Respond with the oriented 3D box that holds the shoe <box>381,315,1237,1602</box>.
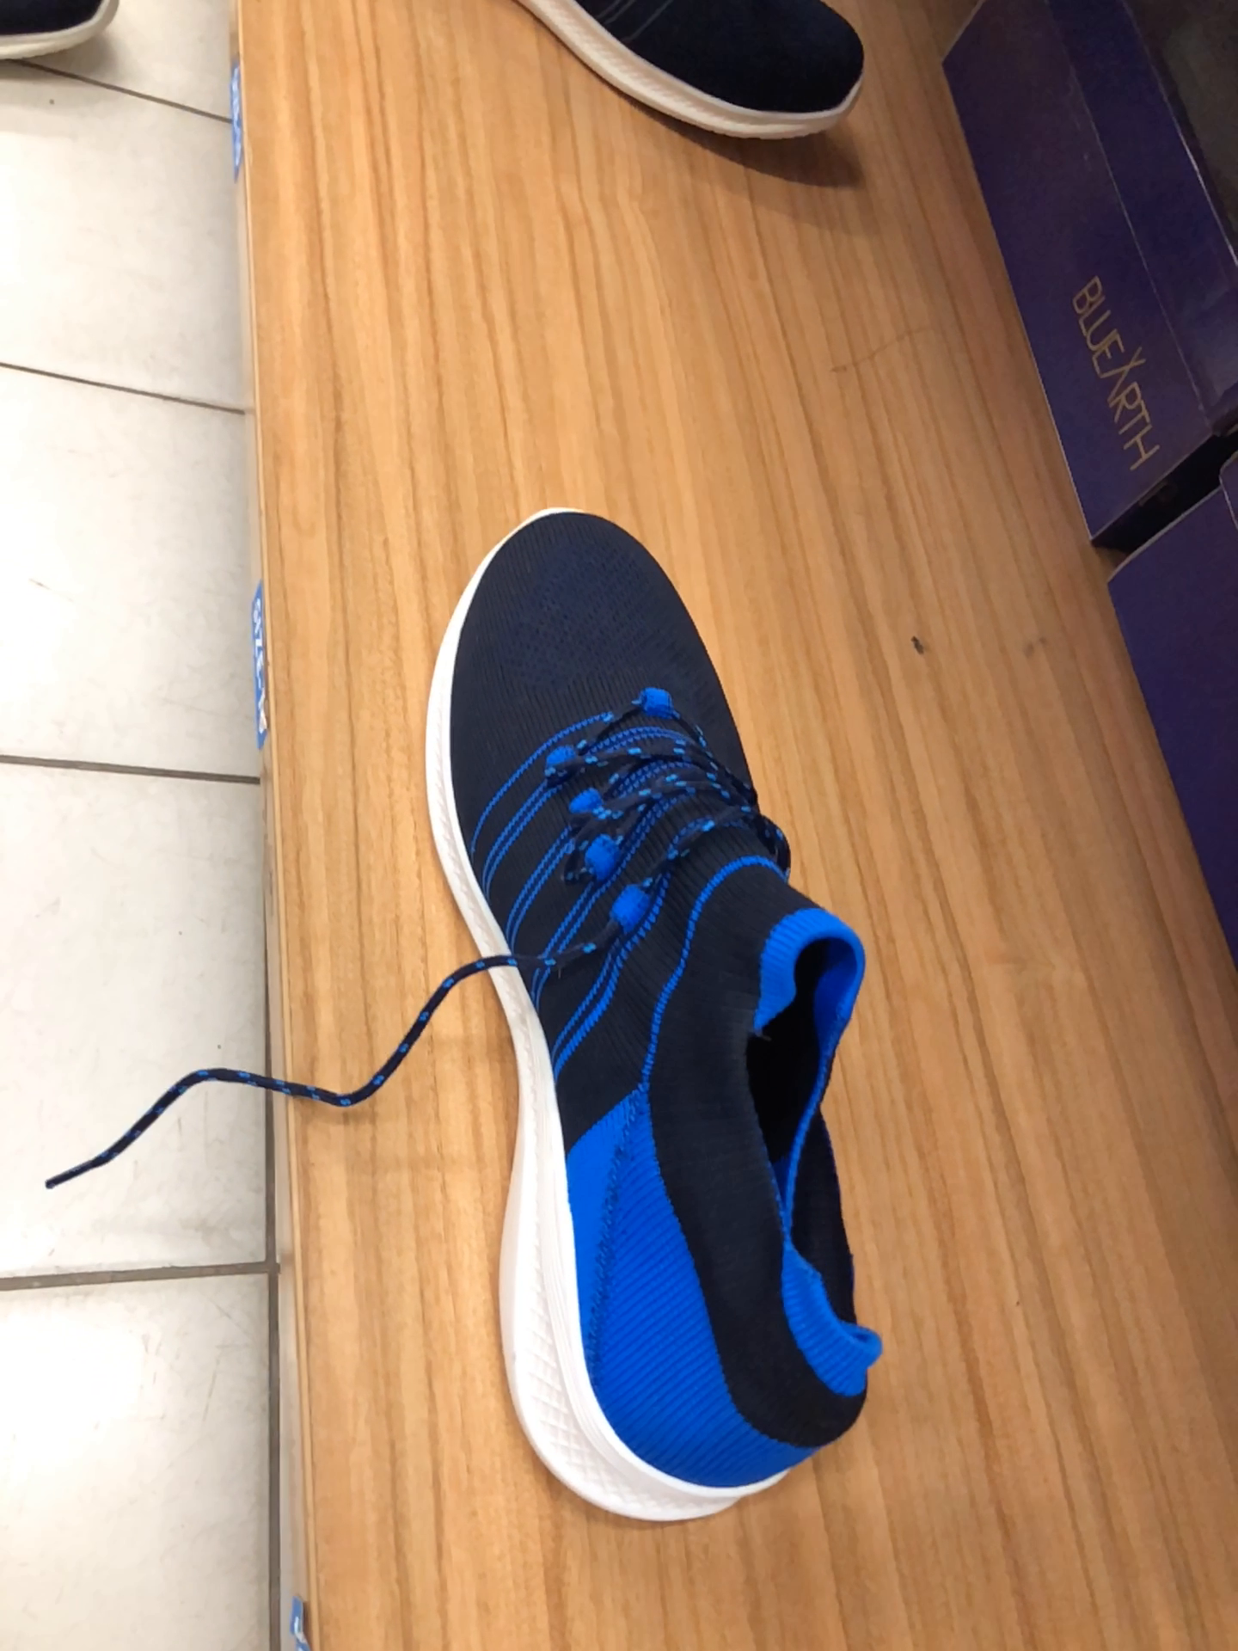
[{"bbox_3d":[0.024,0.026,0.331,0.110,0.109,0.261,1,65,-27],"label":"shoe"}]
